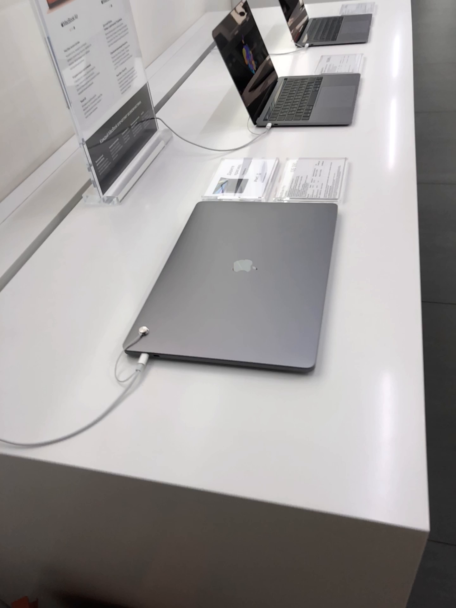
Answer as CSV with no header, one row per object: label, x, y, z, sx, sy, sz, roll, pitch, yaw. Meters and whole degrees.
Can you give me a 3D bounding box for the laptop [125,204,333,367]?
laptop,0.021,-0.052,0.724,0.231,0.003,0.346,4,43,14
